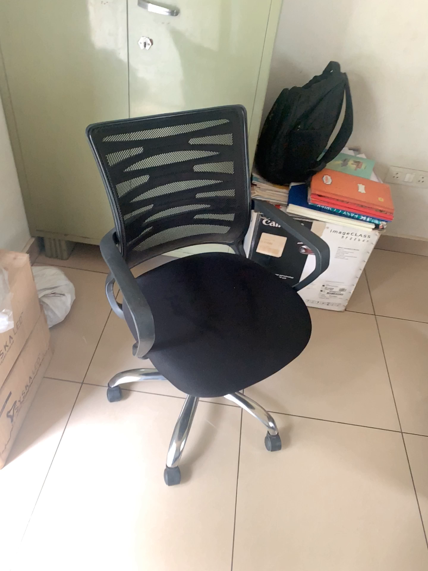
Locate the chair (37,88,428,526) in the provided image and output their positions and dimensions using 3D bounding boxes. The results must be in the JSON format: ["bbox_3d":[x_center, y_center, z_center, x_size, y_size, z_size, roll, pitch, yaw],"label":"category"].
[{"bbox_3d":[-0.005,0.060,1.334,0.681,0.996,0.651,-22,51,-29],"label":"chair"}]
